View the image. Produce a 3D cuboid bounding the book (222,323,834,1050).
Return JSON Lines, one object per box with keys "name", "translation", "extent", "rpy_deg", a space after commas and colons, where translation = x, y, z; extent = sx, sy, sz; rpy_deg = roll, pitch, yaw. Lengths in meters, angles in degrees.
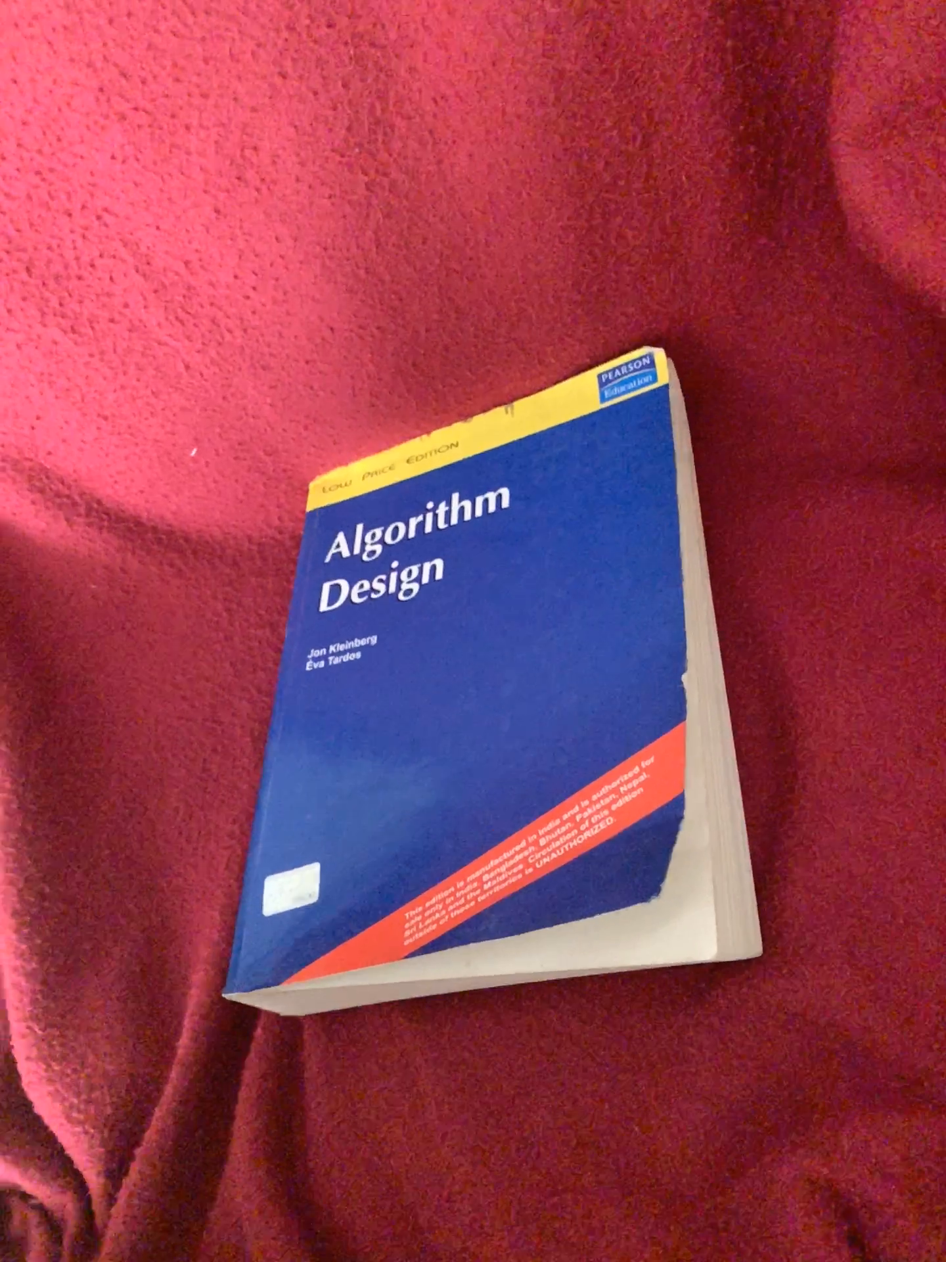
{"name": "book", "translation": [0.015, 0.019, 0.384], "extent": [0.190, 0.060, 0.251], "rpy_deg": [-15, 54, 23]}
